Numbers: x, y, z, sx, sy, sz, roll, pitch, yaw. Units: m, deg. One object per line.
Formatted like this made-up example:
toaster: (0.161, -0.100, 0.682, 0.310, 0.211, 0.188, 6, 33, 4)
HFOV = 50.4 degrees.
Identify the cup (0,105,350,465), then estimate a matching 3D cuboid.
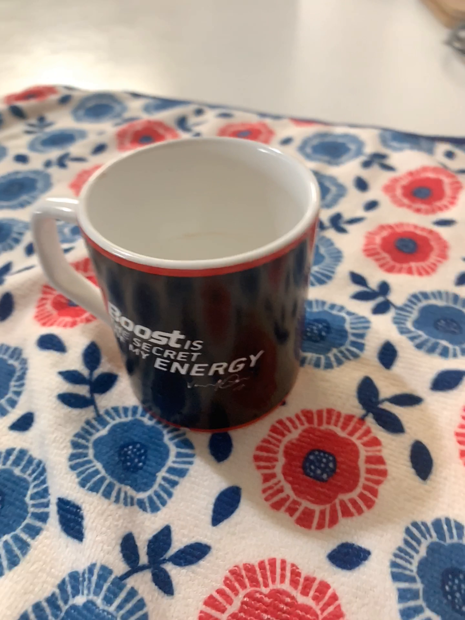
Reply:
cup: (-0.022, -0.014, 0.191, 0.110, 0.089, 0.081, 12, 45, 15)
